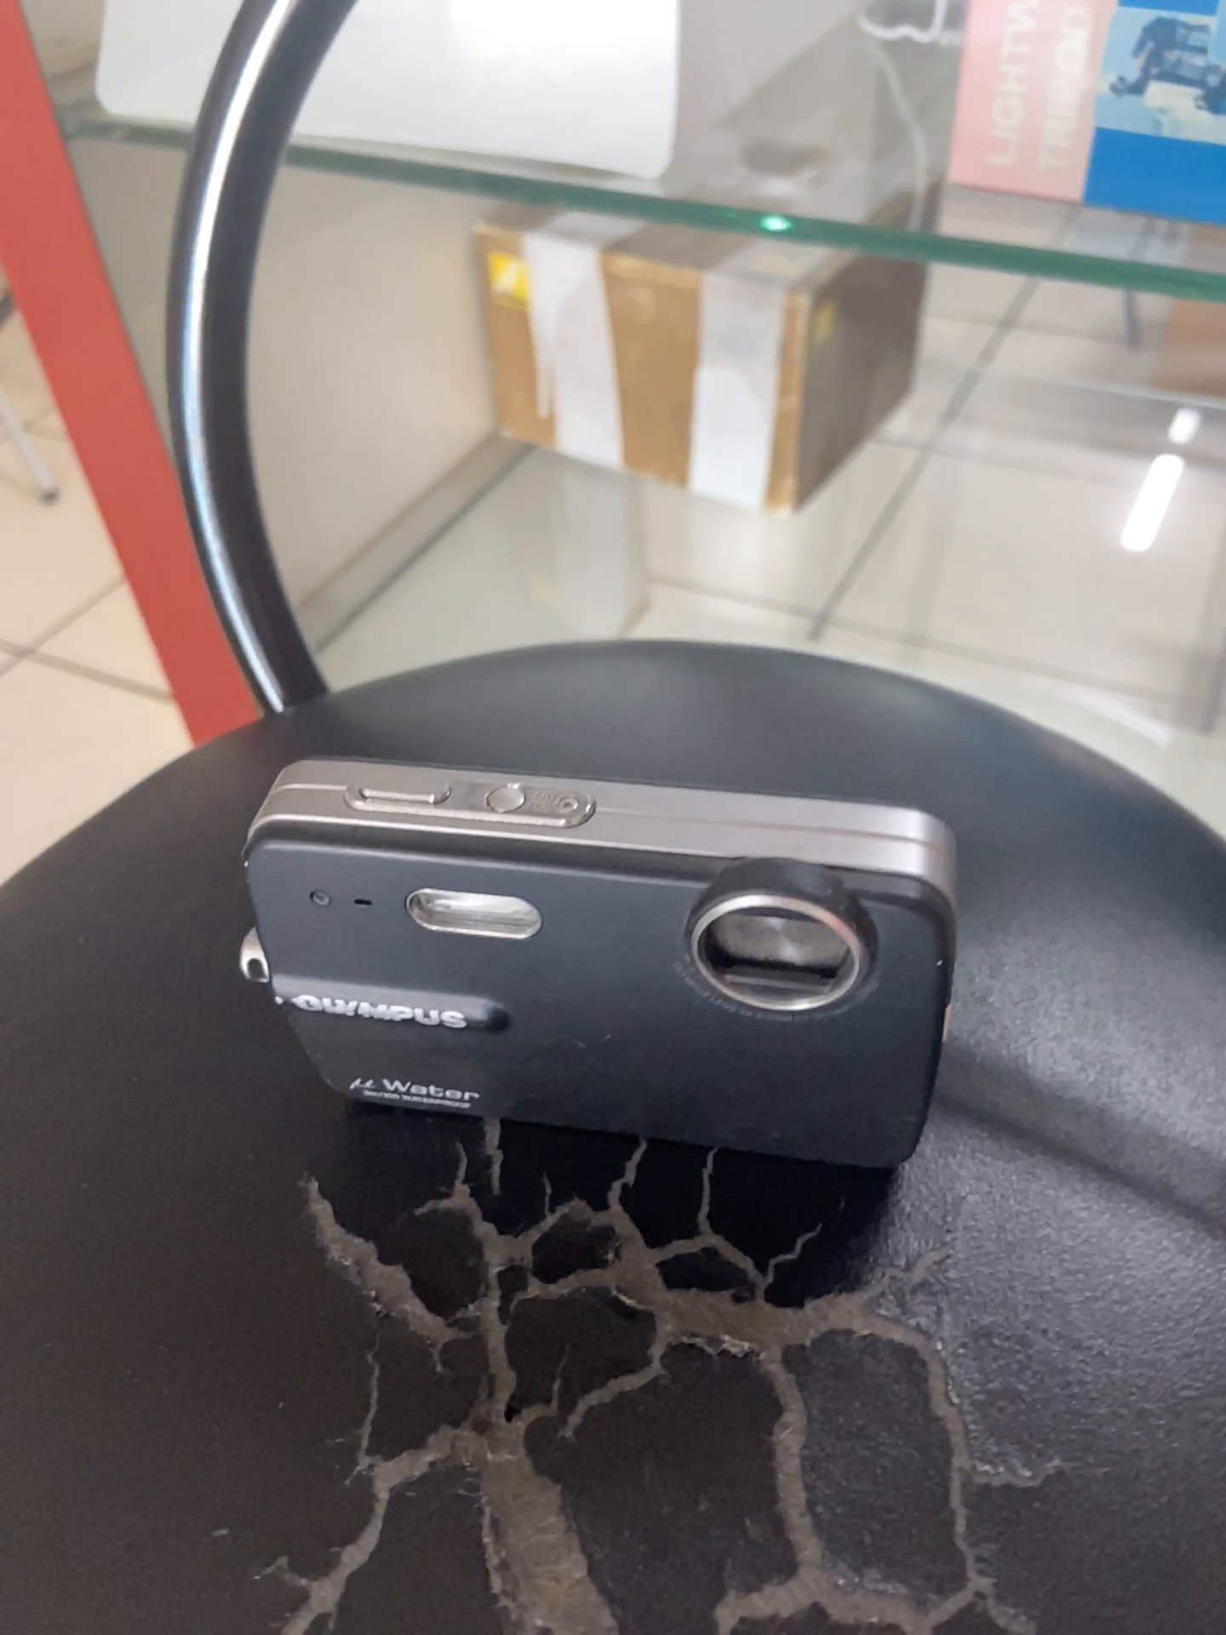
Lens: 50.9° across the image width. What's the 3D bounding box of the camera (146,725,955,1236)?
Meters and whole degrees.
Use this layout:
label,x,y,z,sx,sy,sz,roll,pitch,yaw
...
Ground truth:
label,x,y,z,sx,sy,sz,roll,pitch,yaw
camera,-0.006,0.024,0.186,0.100,0.060,0.030,6,45,11
